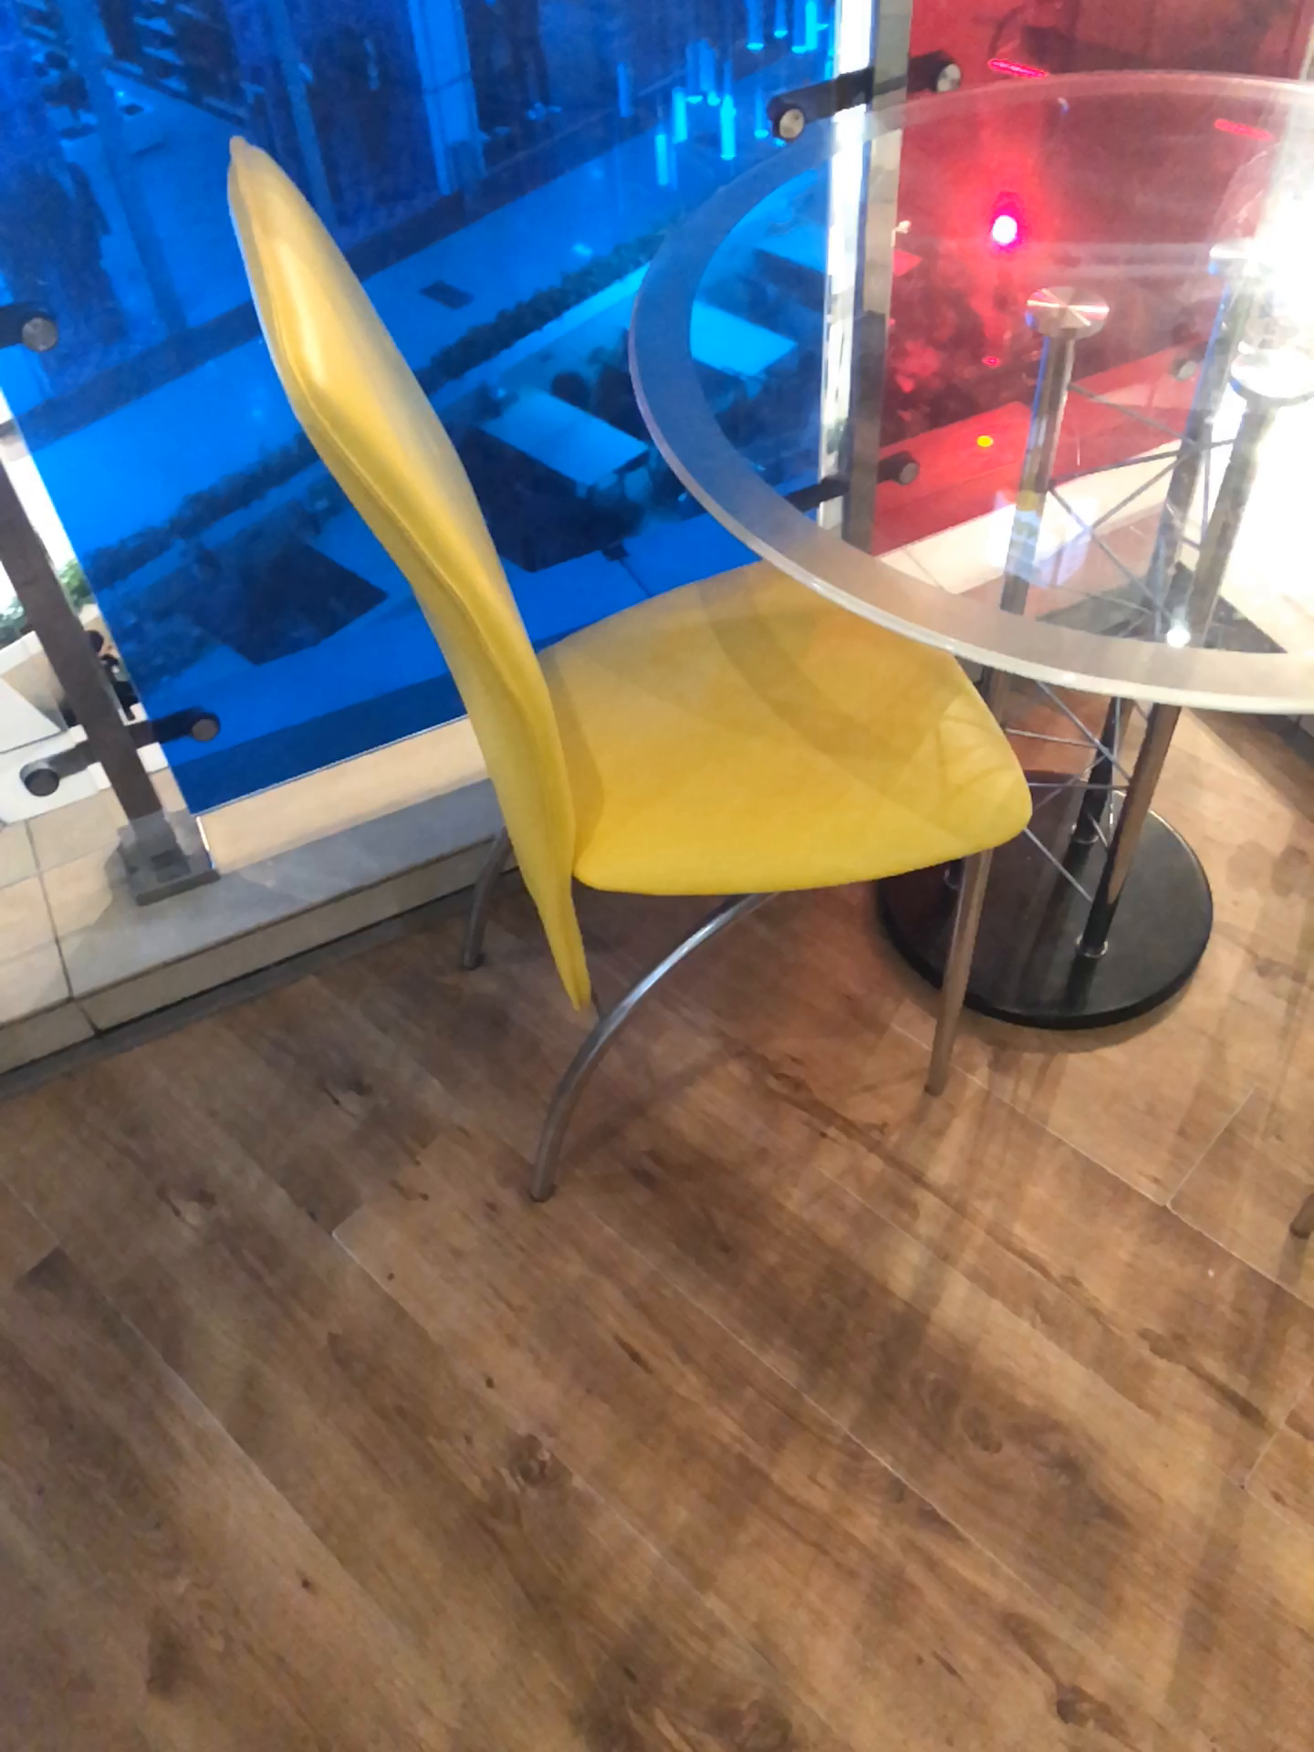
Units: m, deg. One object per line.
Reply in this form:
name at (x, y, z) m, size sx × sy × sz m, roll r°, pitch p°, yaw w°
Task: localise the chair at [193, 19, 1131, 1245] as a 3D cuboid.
chair at (-0.004, -0.141, 1.259) m, size 0.490 × 0.897 × 0.431 m, roll -16°, pitch 51°, yaw -9°
